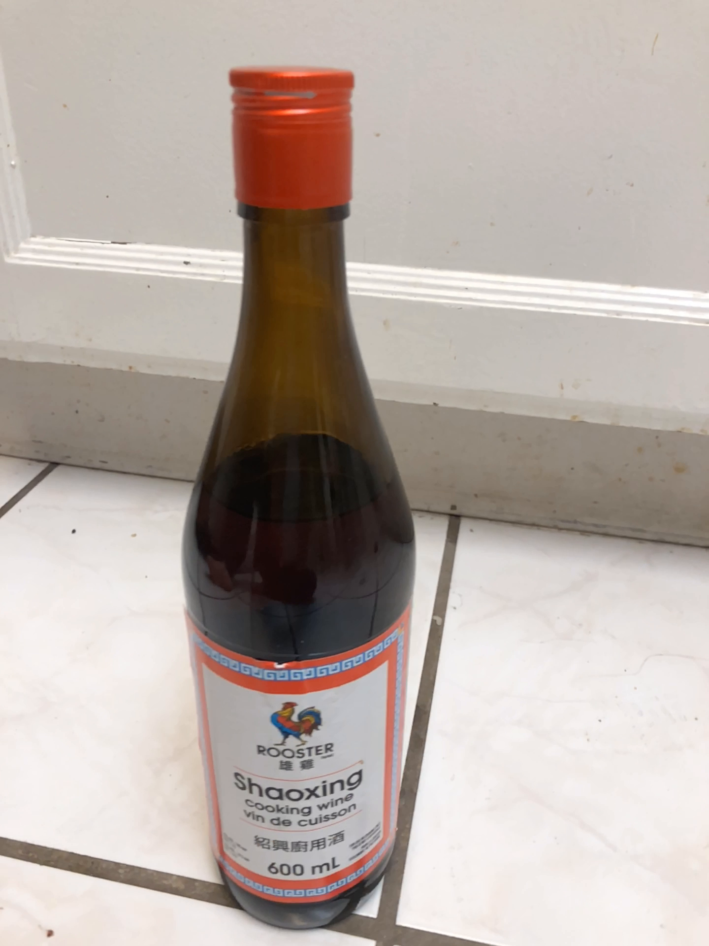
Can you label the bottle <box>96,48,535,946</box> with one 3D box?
[{"bbox_3d":[-0.014,0.029,0.242,0.080,0.278,0.070,-1,30,-5],"label":"bottle"}]
